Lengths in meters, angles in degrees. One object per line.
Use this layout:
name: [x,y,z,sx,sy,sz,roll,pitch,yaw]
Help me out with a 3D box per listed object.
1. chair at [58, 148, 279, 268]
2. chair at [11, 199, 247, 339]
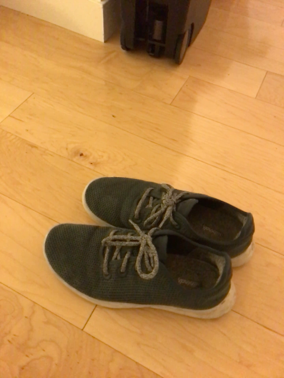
chair: [0.042,0.033,0.507,0.320,0.099,0.101,12,64,5]
chair: [-0.012,0.118,0.454,0.300,0.099,0.111,12,56,4]
